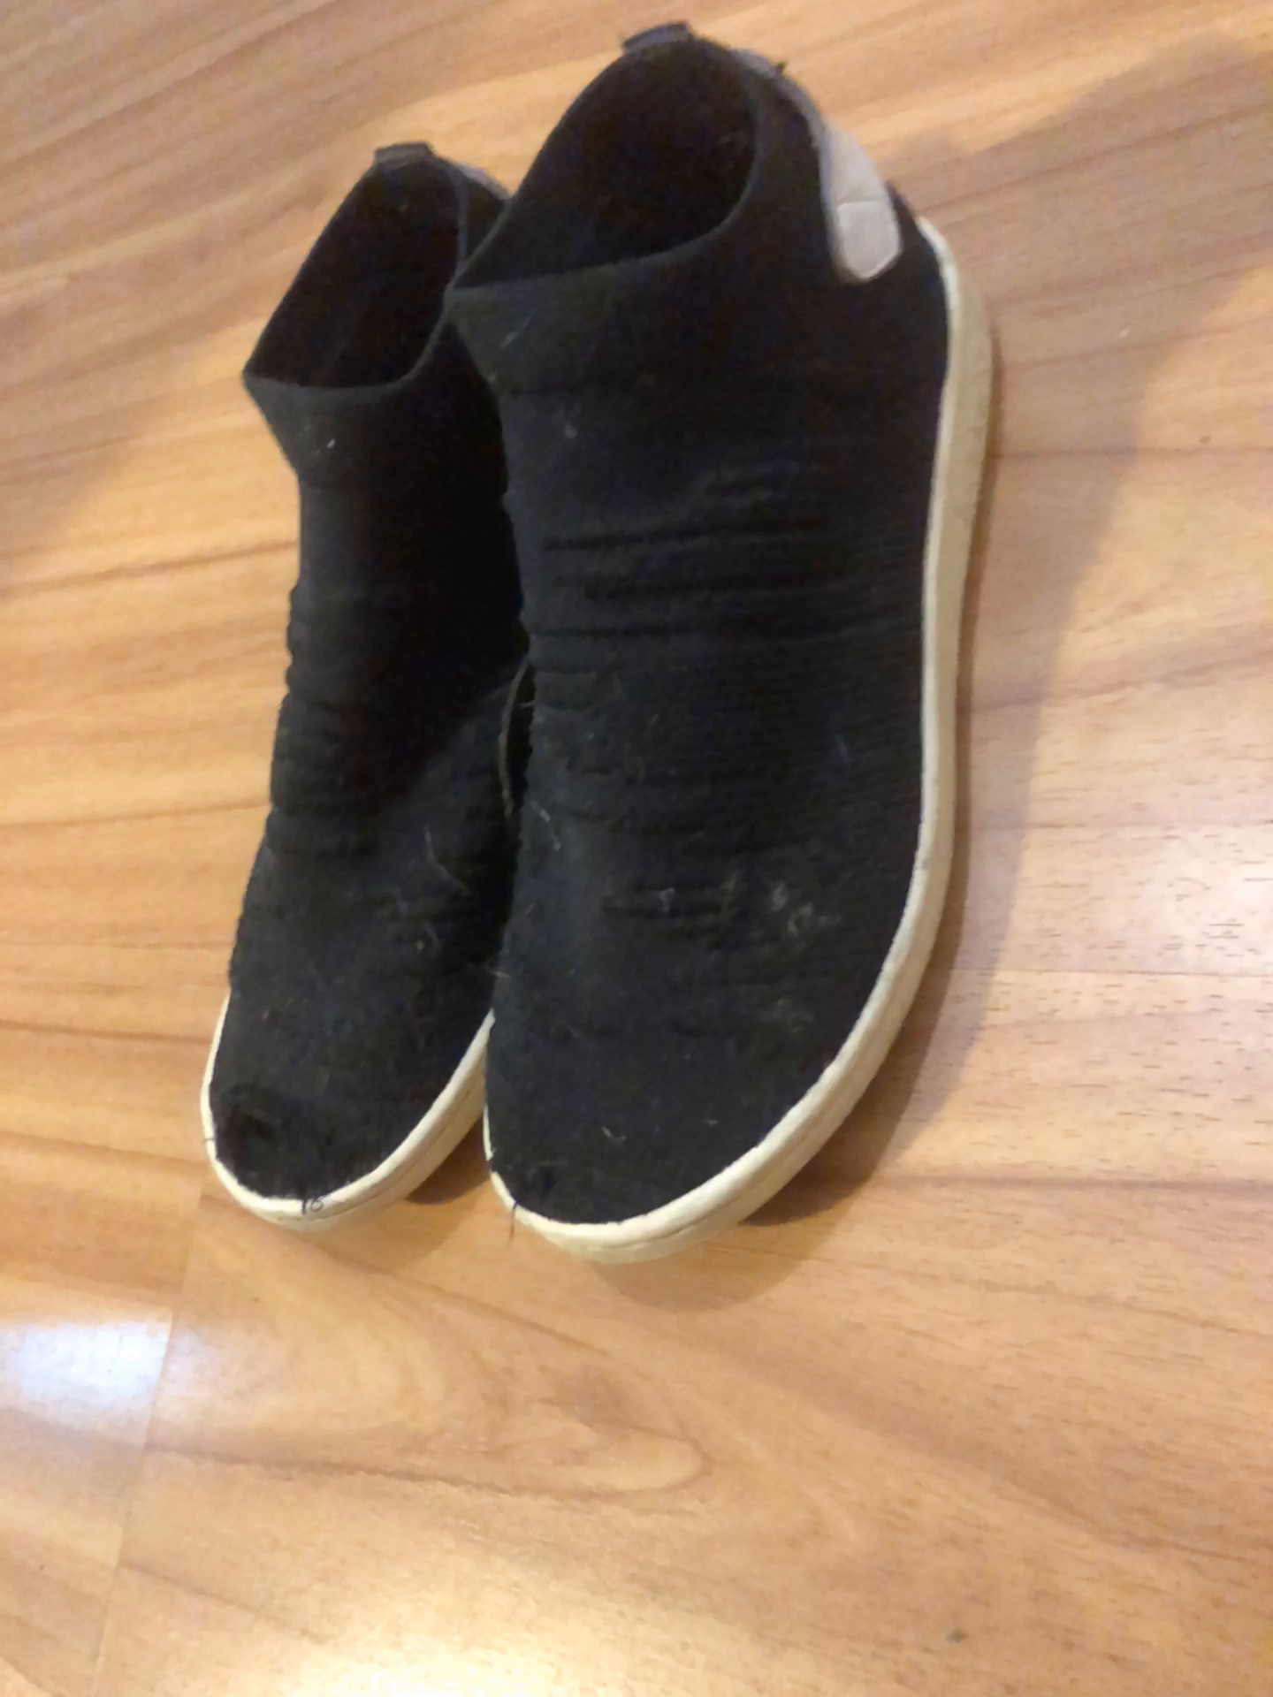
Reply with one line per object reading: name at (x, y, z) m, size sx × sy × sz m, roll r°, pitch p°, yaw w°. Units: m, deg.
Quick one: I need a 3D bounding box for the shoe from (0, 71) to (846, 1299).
shoe at (-0.051, -0.037, 0.349) m, size 0.100 × 0.100 × 0.260 m, roll 13°, pitch 81°, yaw 35°

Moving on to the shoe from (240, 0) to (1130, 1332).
shoe at (0.023, -0.046, 0.295) m, size 0.100 × 0.100 × 0.260 m, roll 4°, pitch 75°, yaw 34°
